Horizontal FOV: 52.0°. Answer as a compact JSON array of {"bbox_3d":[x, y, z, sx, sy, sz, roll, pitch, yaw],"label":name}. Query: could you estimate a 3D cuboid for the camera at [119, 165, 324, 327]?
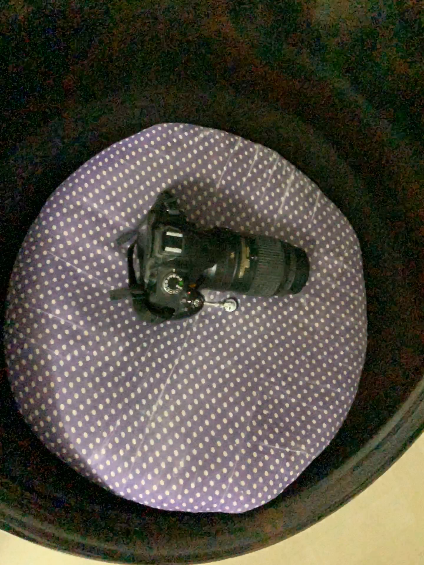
[{"bbox_3d":[0.009,-0.028,0.485,0.200,0.100,0.140,5,79,-20],"label":"camera"}]
